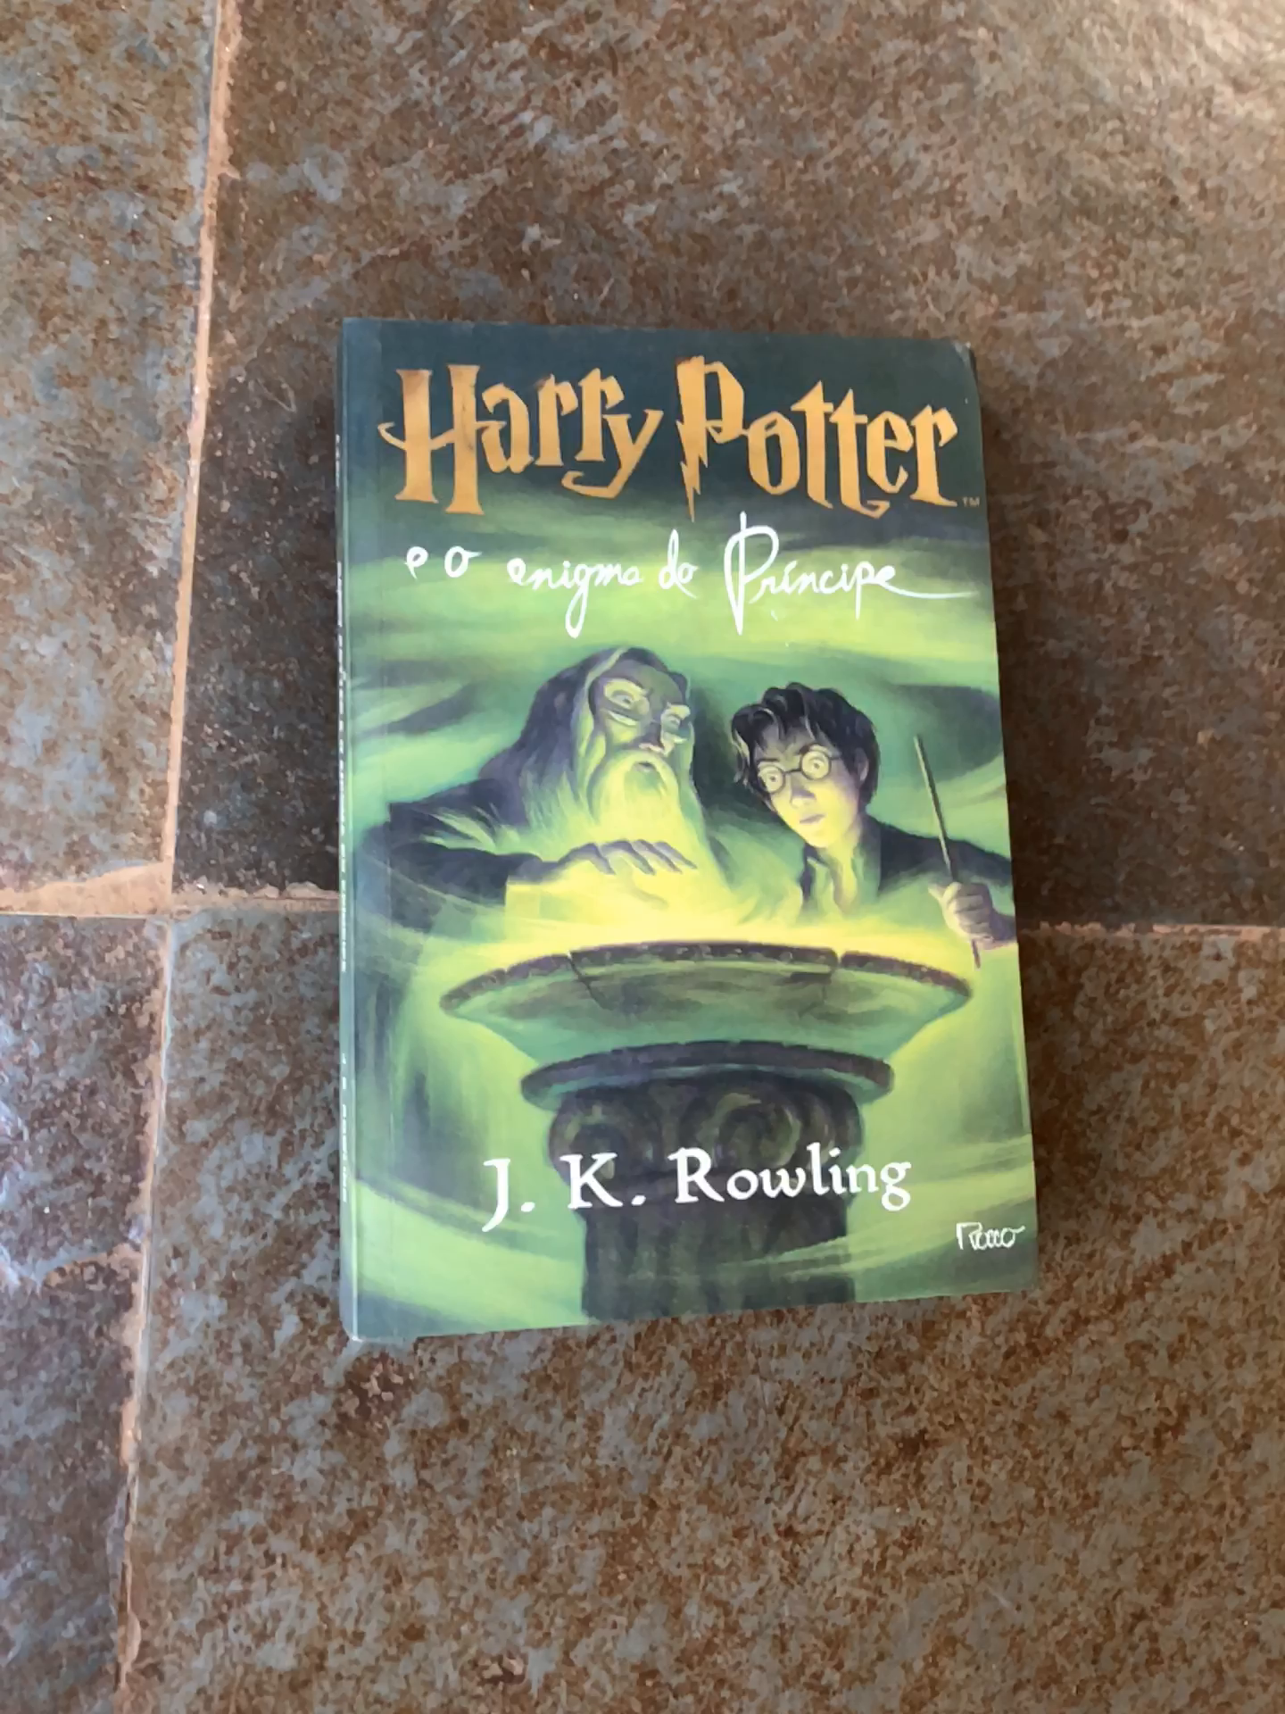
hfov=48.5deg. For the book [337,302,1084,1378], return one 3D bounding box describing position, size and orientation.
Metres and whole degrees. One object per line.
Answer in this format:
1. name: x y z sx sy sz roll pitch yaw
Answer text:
1. book: 0.011 -0.006 0.291 0.142 0.030 0.200 0 83 -11
